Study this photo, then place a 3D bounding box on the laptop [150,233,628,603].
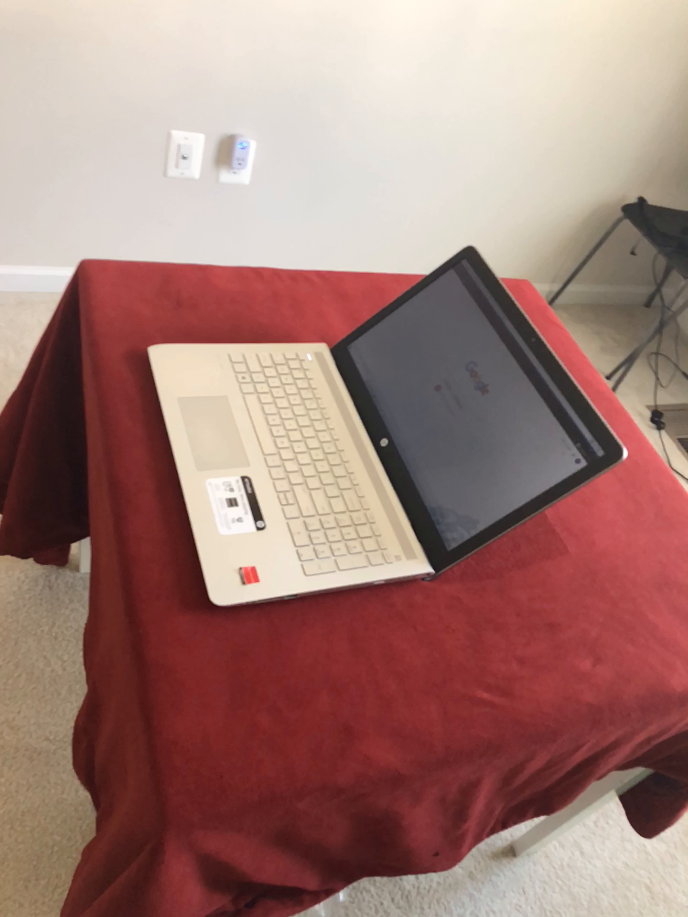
[{"bbox_3d":[0.023,-0.067,0.828,0.396,0.158,0.361,-4,50,-24],"label":"laptop"}]
